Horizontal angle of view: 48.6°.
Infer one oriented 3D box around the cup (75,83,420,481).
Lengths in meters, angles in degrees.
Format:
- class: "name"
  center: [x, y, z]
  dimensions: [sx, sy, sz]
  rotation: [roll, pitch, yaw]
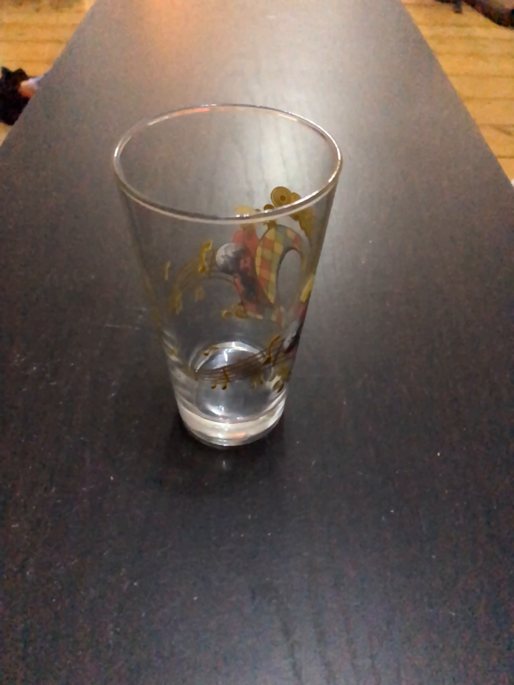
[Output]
- class: "cup"
  center: [-0.005, -0.024, 0.225]
  dimensions: [0.080, 0.109, 0.080]
  rotation: [1, 45, -1]
